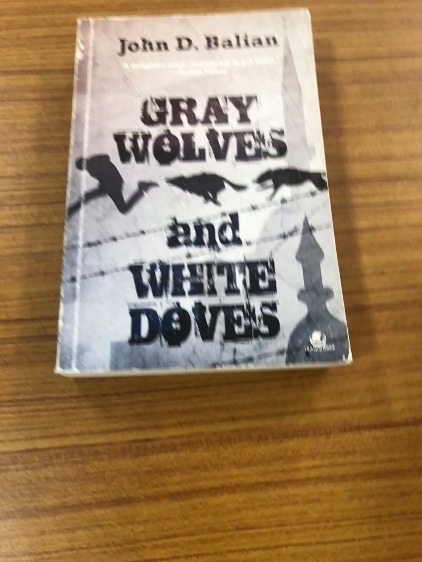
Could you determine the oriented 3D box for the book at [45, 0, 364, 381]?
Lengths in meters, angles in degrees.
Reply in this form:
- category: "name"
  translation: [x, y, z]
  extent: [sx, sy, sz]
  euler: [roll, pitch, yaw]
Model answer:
- category: "book"
  translation: [-0.005, -0.060, 0.239]
  extent: [0.130, 0.030, 0.210]
  euler: [-2, 73, 2]
